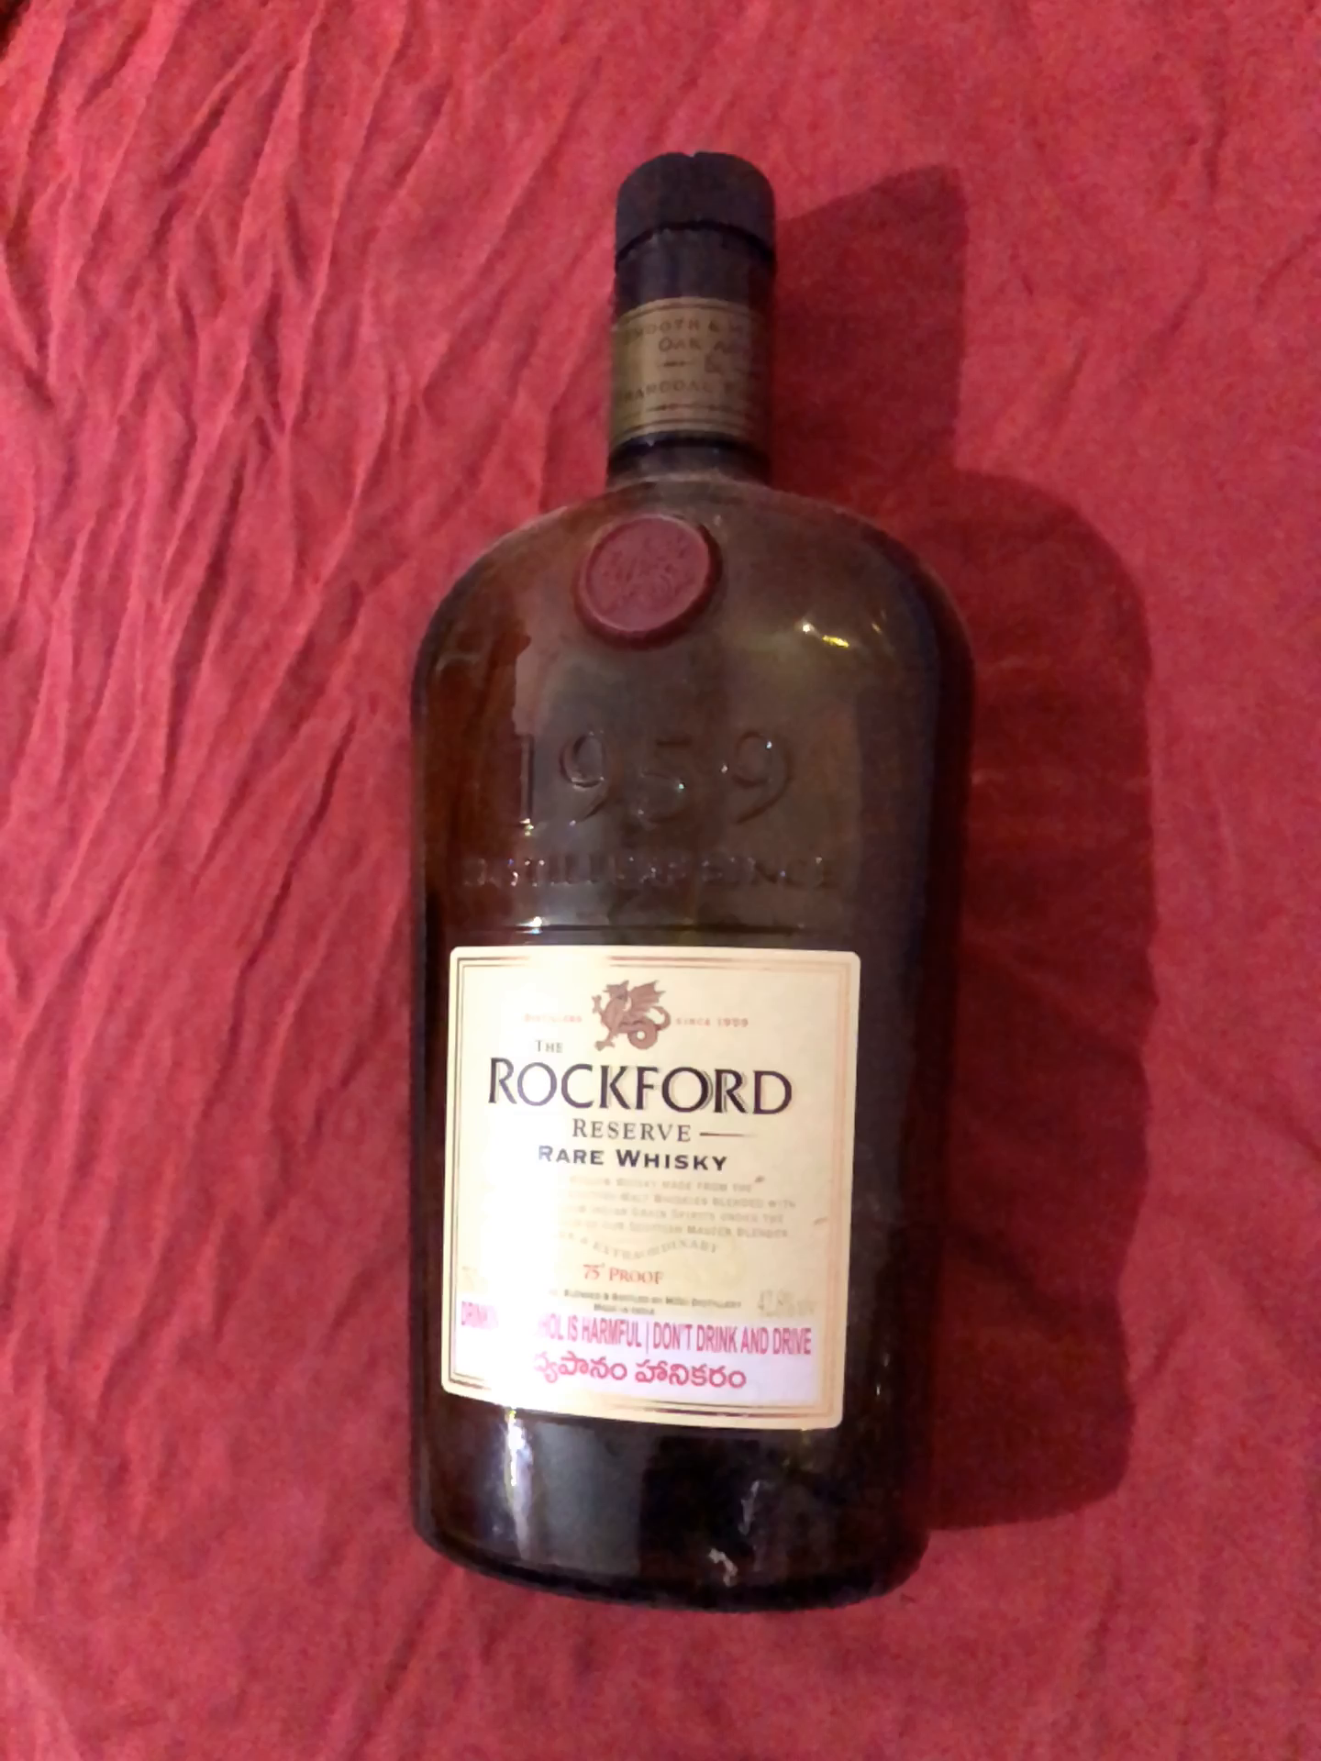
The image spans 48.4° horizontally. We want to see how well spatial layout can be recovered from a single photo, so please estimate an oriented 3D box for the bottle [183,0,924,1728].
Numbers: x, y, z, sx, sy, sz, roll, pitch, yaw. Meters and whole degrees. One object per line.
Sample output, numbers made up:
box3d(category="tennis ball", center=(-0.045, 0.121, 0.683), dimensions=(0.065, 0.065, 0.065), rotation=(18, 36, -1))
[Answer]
box3d(category="bottle", center=(-0.011, -0.014, 0.242), dimensions=(0.100, 0.060, 0.250), rotation=(-1, 83, 16))
